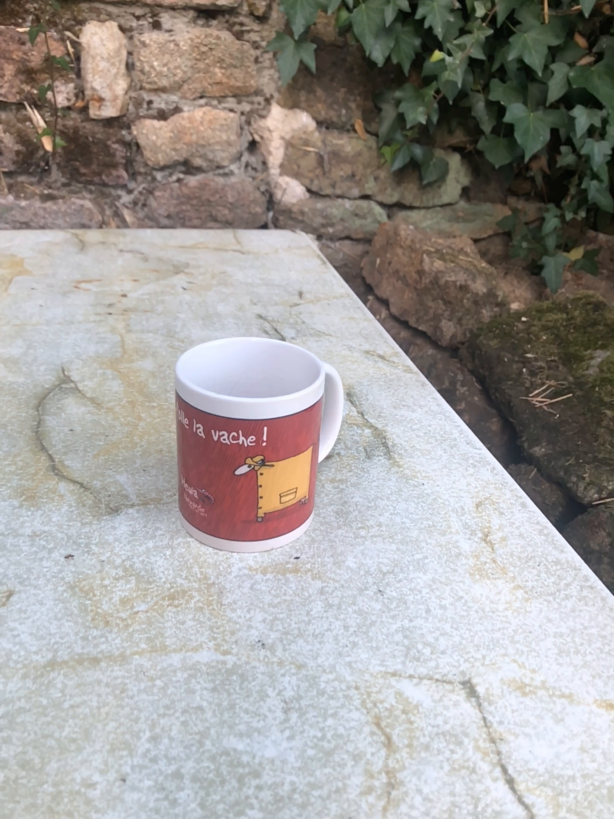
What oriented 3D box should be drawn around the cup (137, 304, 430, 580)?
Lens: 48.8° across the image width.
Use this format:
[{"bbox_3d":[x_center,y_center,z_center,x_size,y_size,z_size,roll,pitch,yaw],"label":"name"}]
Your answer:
[{"bbox_3d":[-0.010,0.008,0.372,0.086,0.083,0.130,27,37,35],"label":"cup"}]
